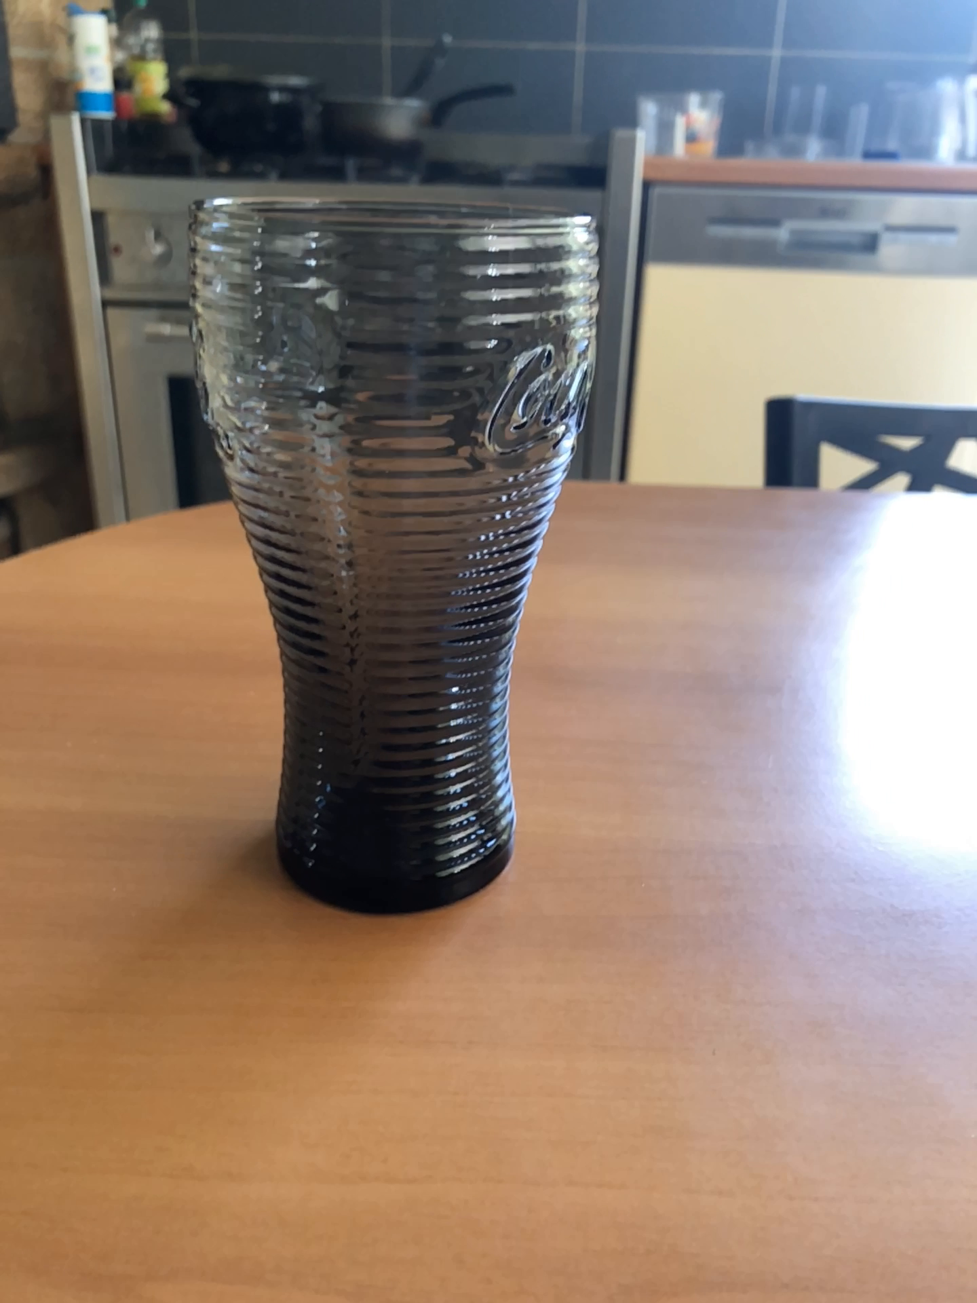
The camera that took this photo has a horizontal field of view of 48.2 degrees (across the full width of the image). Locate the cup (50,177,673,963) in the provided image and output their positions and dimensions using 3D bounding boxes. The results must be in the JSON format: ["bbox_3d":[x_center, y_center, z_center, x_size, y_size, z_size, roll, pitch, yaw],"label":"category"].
[{"bbox_3d":[-0.024,-0.026,0.225,0.080,0.129,0.080,1,24,-1],"label":"cup"}]
